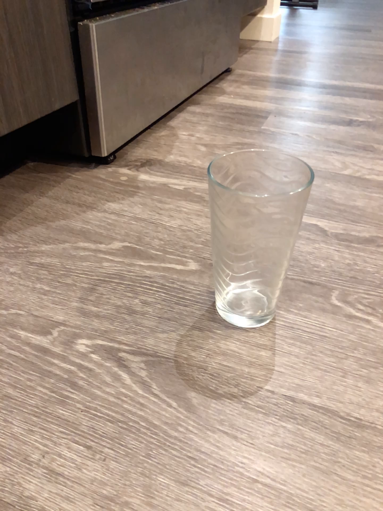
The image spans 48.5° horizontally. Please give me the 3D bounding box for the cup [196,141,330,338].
[{"bbox_3d":[0.063,-0.016,0.390,0.090,0.139,0.090,1,36,-1],"label":"cup"}]
